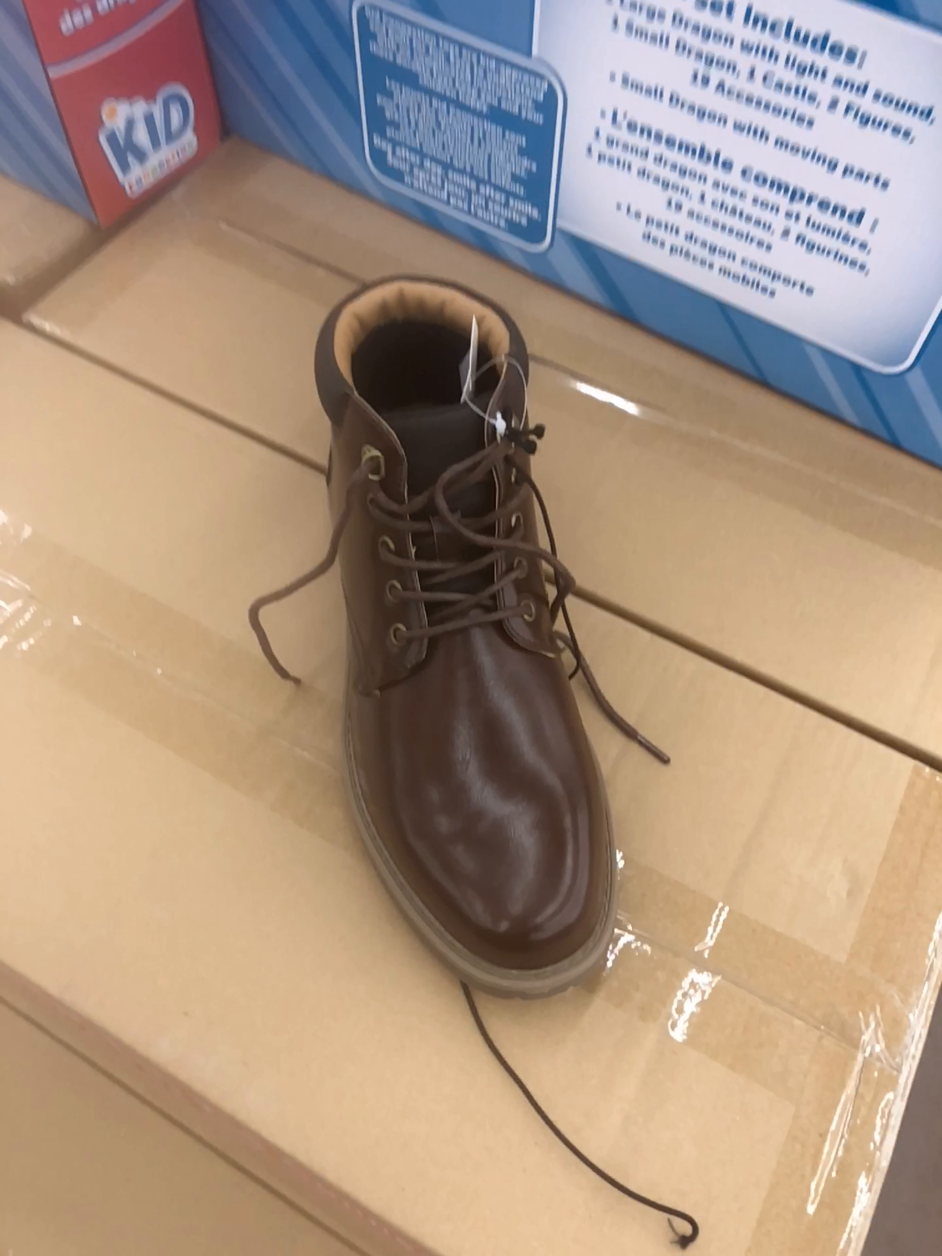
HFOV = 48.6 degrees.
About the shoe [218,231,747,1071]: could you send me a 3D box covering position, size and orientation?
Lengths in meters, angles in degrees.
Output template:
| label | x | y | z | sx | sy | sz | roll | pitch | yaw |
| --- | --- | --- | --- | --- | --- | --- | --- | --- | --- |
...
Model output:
| label | x | y | z | sx | sy | sz | roll | pitch | yaw |
| --- | --- | --- | --- | --- | --- | --- | --- | --- | --- |
| shoe | -0.015 | 0.003 | 0.431 | 0.120 | 0.160 | 0.291 | -10 | 58 | -8 |
